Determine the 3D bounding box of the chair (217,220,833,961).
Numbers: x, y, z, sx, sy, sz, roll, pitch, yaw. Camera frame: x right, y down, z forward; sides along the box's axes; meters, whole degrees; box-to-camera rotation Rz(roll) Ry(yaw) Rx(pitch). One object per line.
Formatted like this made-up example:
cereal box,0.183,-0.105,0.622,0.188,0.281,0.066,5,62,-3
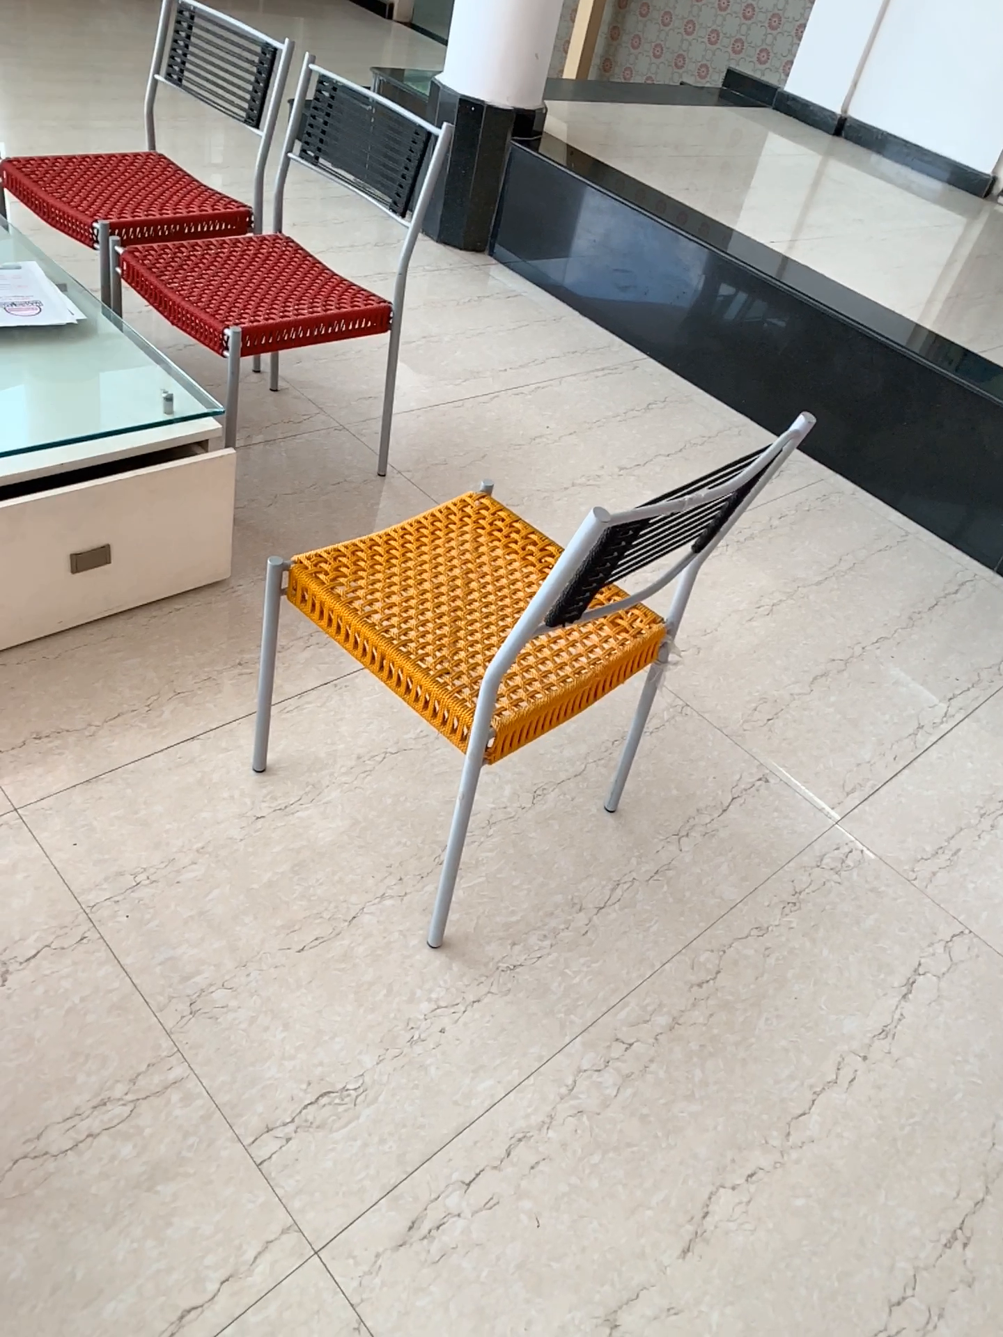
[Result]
chair,-0.027,-0.124,1.470,0.512,0.803,0.523,39,44,27
